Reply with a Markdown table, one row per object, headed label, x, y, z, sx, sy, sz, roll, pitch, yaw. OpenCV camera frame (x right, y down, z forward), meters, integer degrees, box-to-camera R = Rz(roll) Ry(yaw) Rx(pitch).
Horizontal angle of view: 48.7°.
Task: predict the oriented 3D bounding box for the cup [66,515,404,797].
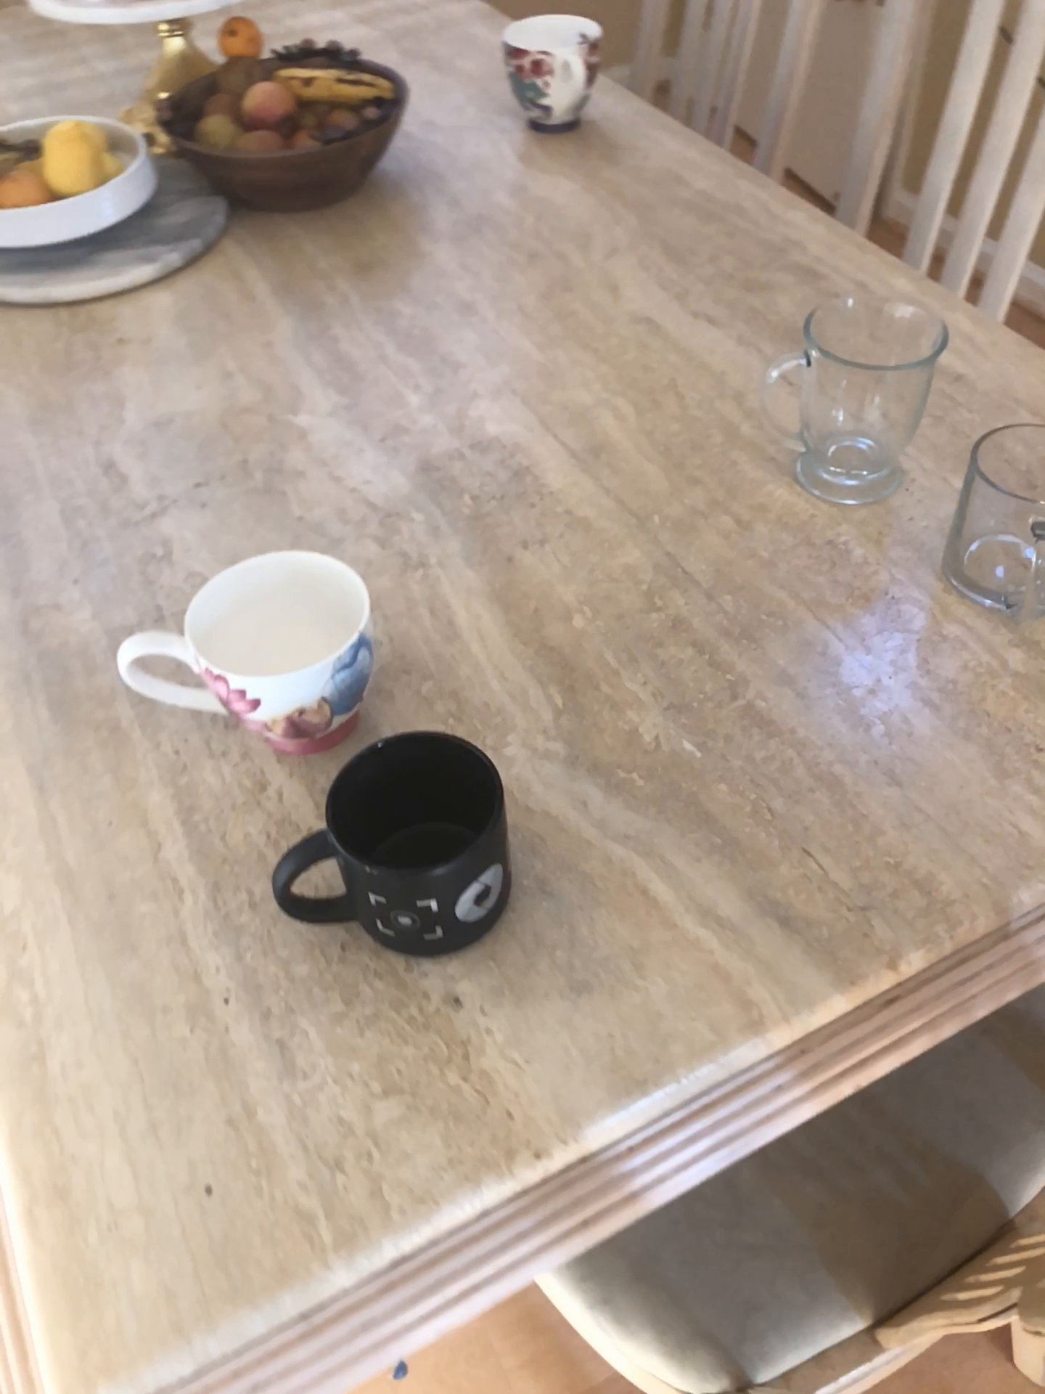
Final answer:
| label | x | y | z | sx | sy | sz | roll | pitch | yaw |
| --- | --- | --- | --- | --- | --- | --- | --- | --- | --- |
| cup | -0.169 | -0.025 | 0.697 | 0.170 | 0.099 | 0.101 | -11 | 48 | -5 |

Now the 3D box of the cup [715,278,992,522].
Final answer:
| label | x | y | z | sx | sy | sz | roll | pitch | yaw |
| --- | --- | --- | --- | --- | --- | --- | --- | --- | --- |
| cup | 0.232 | -0.216 | 0.837 | 0.150 | 0.109 | 0.111 | -9 | 48 | -4 |

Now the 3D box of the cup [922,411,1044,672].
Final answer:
| label | x | y | z | sx | sy | sz | roll | pitch | yaw |
| --- | --- | --- | --- | --- | --- | --- | --- | --- | --- |
| cup | 0.337 | -0.103 | 0.767 | 0.090 | 0.109 | 0.131 | -2 | 48 | 2 |

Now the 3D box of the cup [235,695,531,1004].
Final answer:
| label | x | y | z | sx | sy | sz | roll | pitch | yaw |
| --- | --- | --- | --- | --- | --- | --- | --- | --- | --- |
| cup | -0.073 | 0.082 | 0.623 | 0.130 | 0.109 | 0.091 | -14 | 48 | -8 |
